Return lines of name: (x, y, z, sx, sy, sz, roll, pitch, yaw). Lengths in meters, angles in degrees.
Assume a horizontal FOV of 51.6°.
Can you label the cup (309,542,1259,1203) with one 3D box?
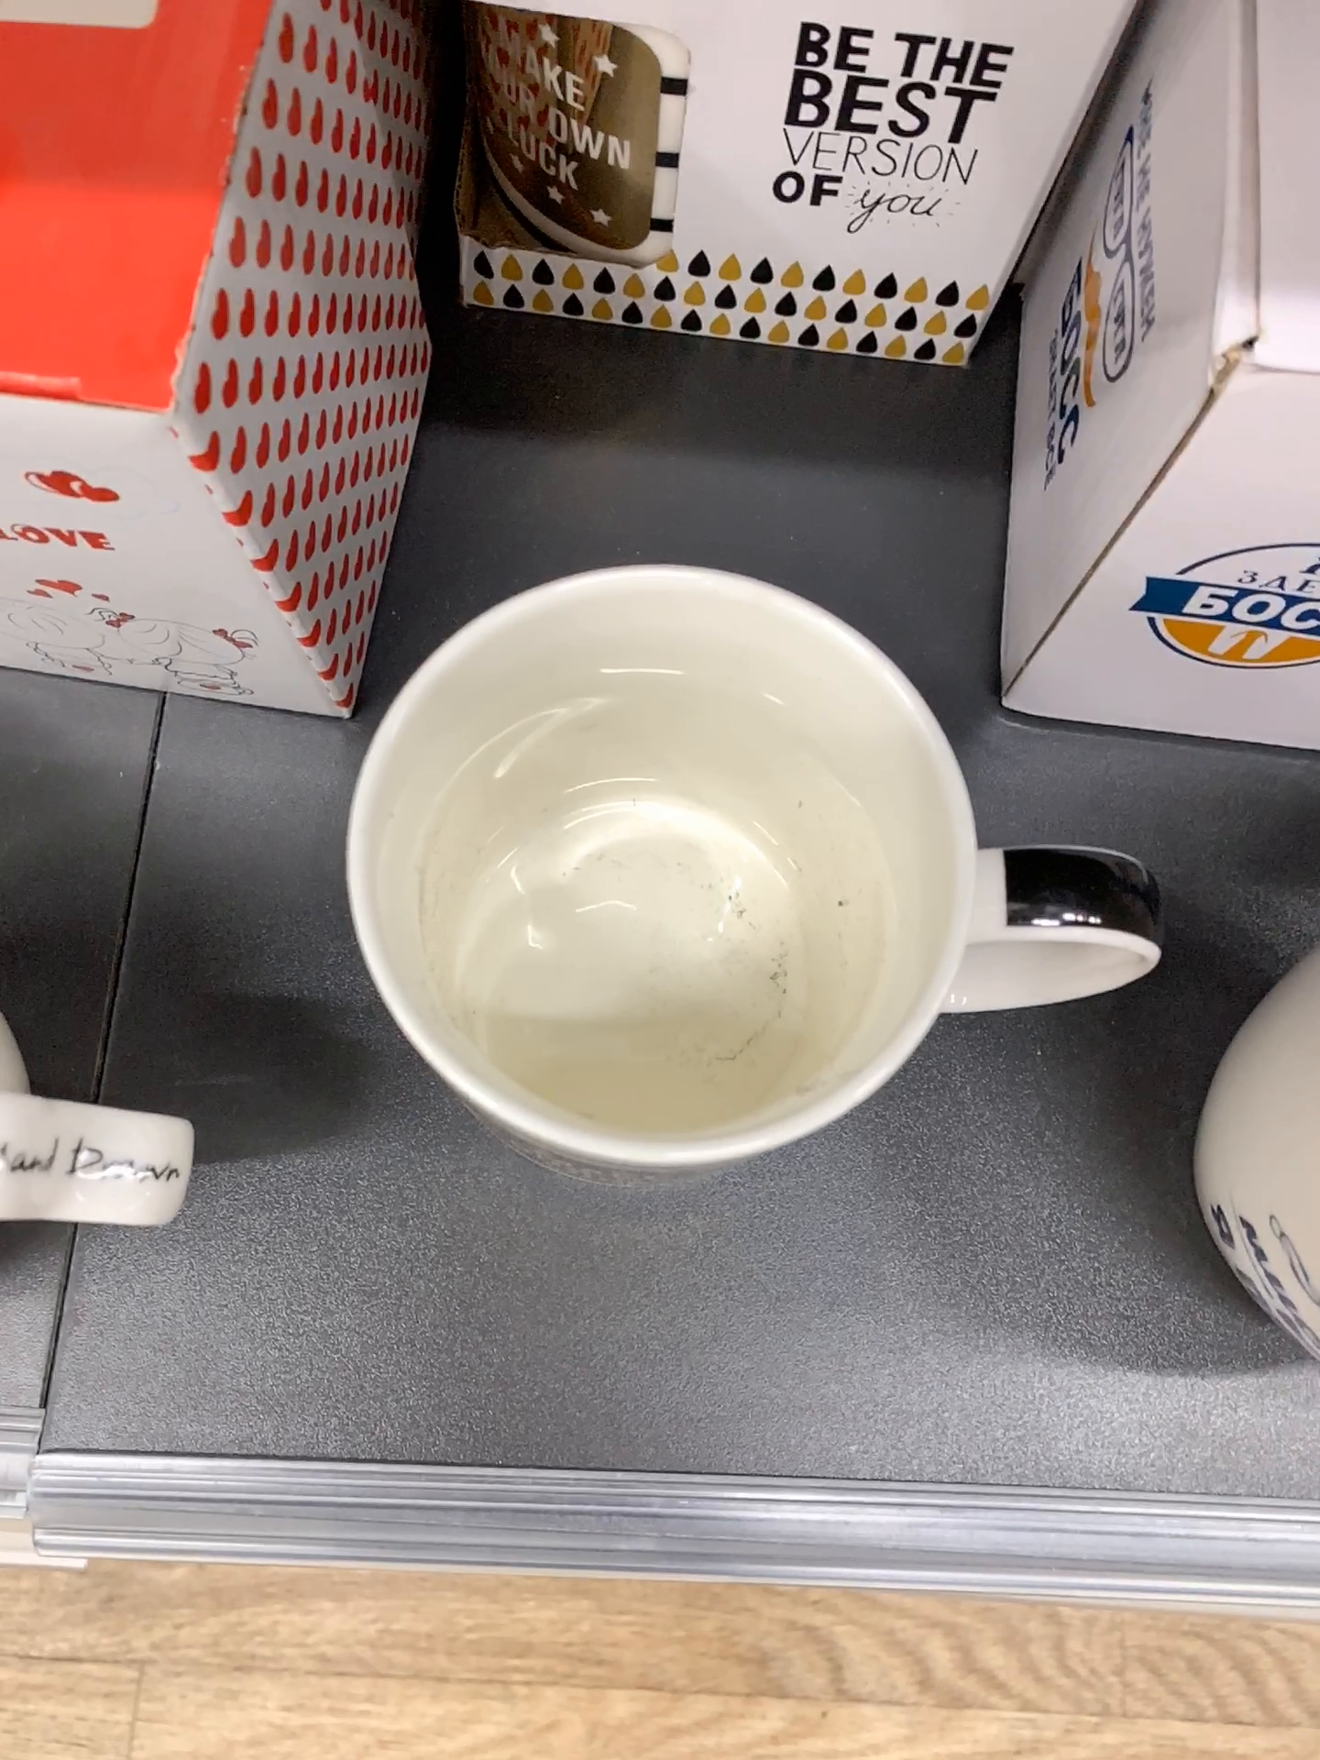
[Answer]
cup: (0.014, 0.008, 0.220, 0.114, 0.096, 0.081, 2, 76, -2)
